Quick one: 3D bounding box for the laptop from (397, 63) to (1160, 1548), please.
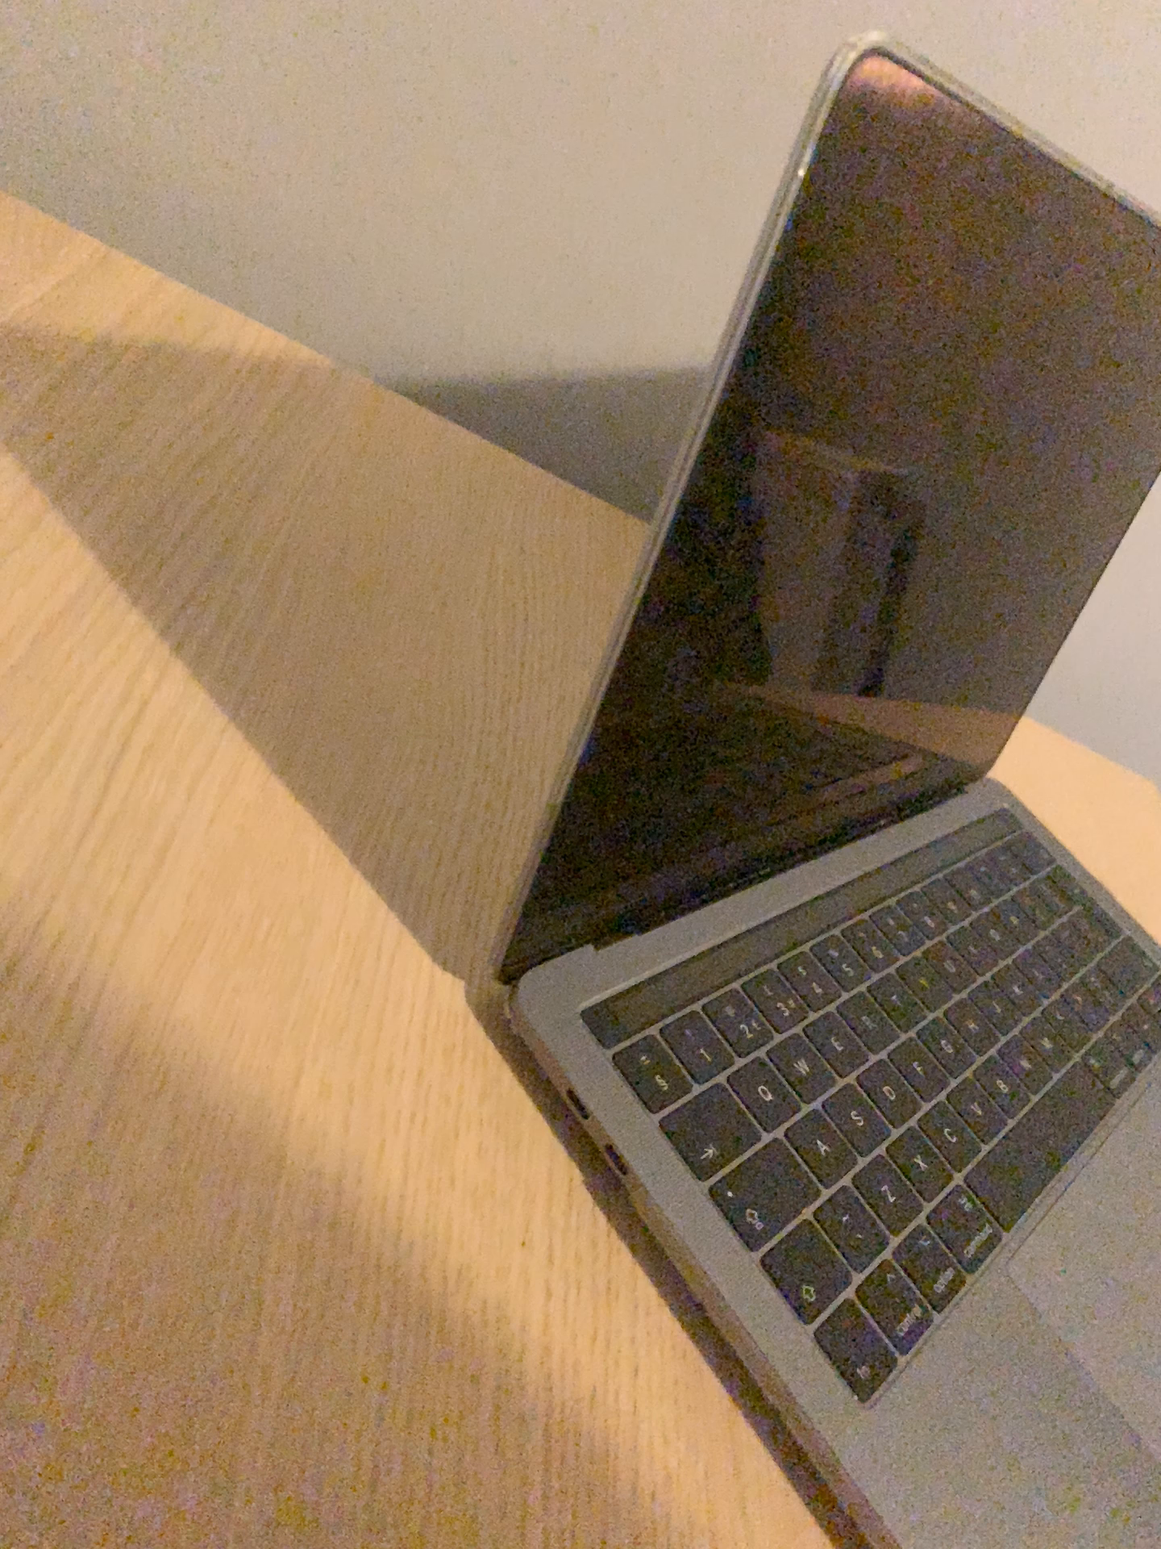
[{"bbox_3d":[0.171,0.018,0.317,0.295,0.197,0.257,-14,58,-48],"label":"laptop"}]
